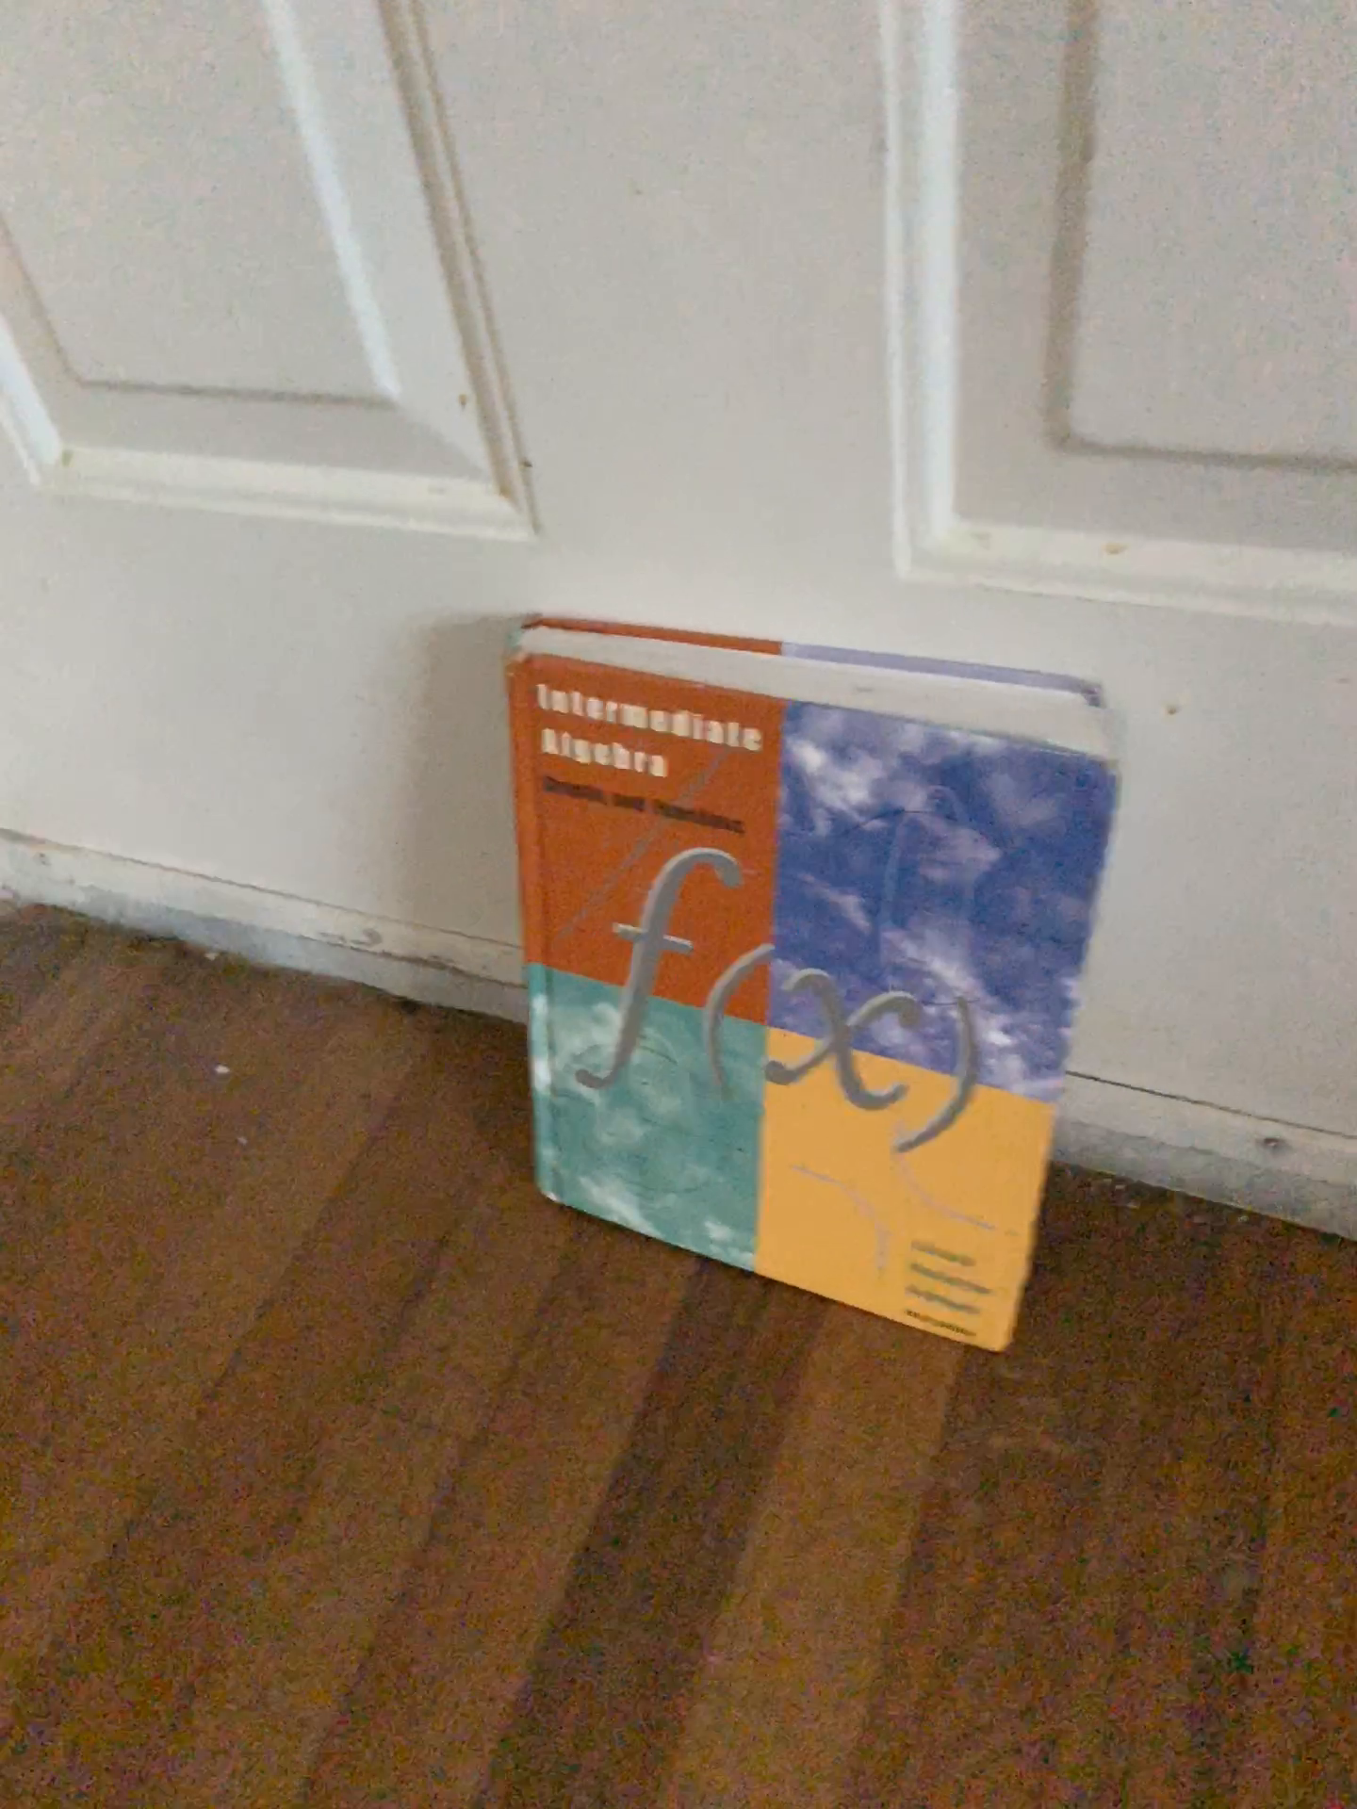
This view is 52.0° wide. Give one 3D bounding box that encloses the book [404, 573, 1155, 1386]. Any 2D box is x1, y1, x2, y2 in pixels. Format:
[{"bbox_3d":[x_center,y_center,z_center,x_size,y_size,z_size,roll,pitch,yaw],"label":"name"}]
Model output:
[{"bbox_3d":[0.029,0.025,0.500,0.230,0.249,0.060,13,34,24],"label":"book"}]
